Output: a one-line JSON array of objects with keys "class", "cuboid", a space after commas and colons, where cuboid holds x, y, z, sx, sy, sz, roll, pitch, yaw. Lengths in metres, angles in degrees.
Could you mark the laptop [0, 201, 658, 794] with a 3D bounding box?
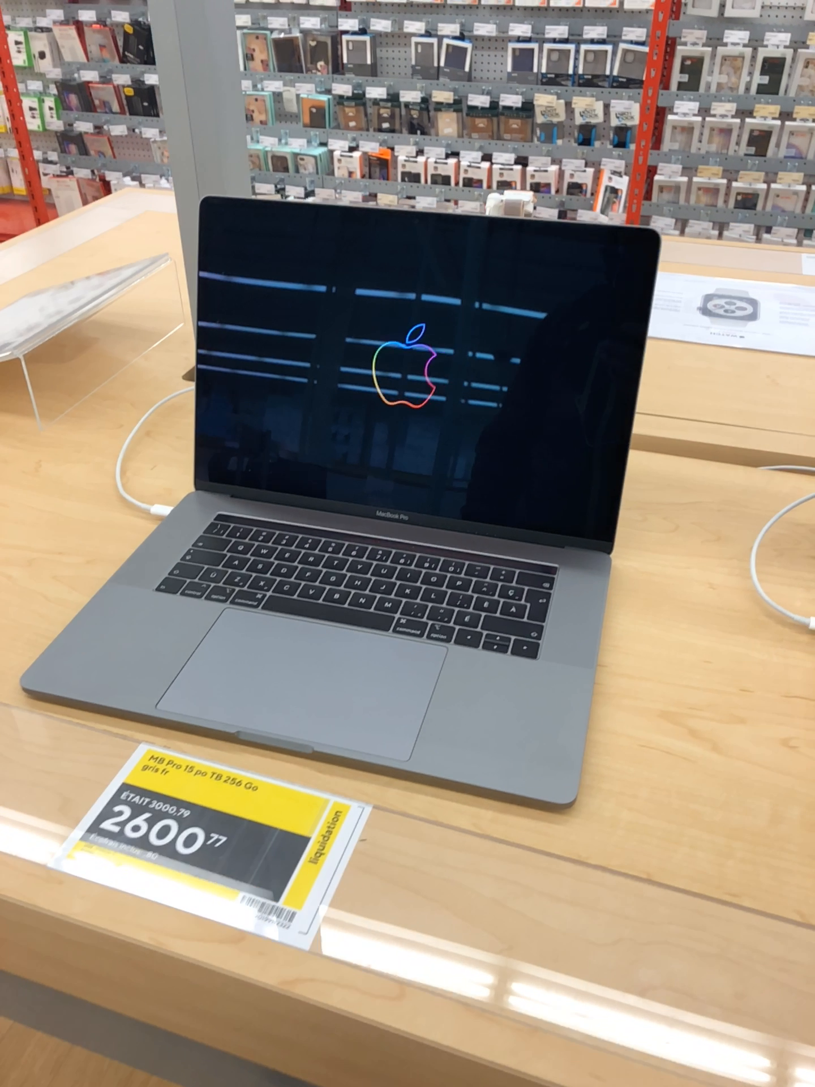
[{"class": "laptop", "cuboid": [-0.034, -0.058, 0.568, 0.329, 0.212, 0.299, 9, 36, 12]}]
